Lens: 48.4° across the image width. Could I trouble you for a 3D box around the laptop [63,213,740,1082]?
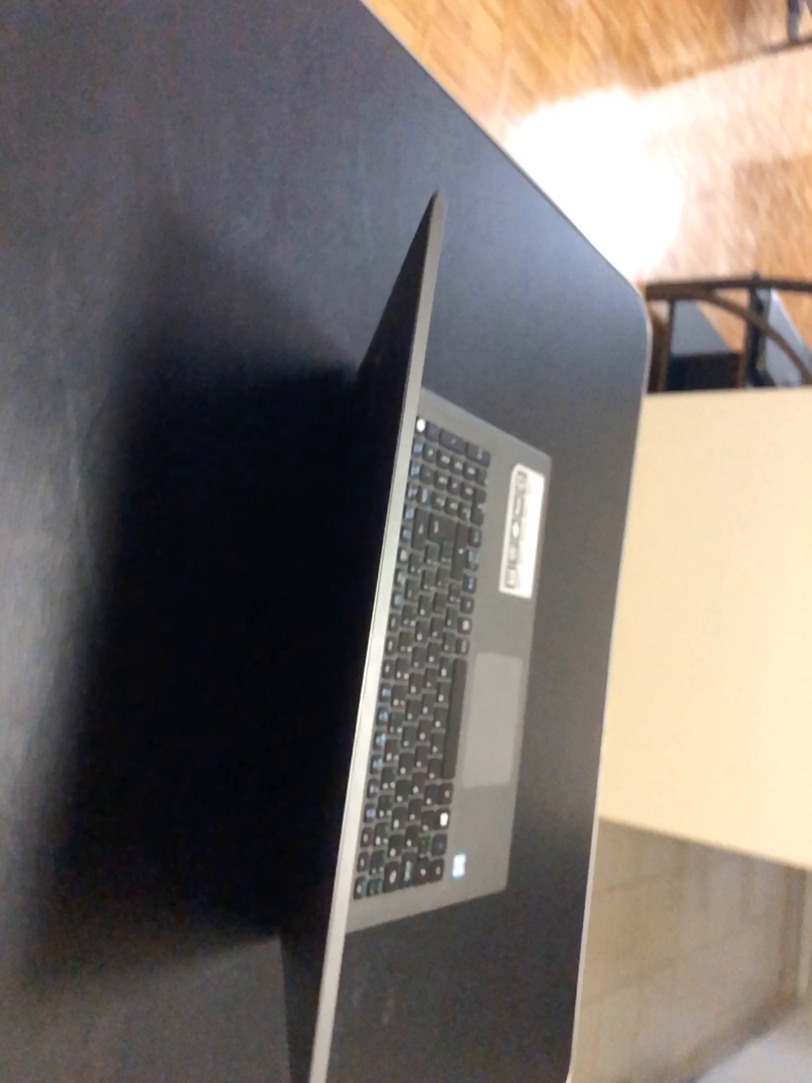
[{"bbox_3d":[0.051,0.086,0.572,0.432,0.161,0.374,17,79,-53],"label":"laptop"}]
